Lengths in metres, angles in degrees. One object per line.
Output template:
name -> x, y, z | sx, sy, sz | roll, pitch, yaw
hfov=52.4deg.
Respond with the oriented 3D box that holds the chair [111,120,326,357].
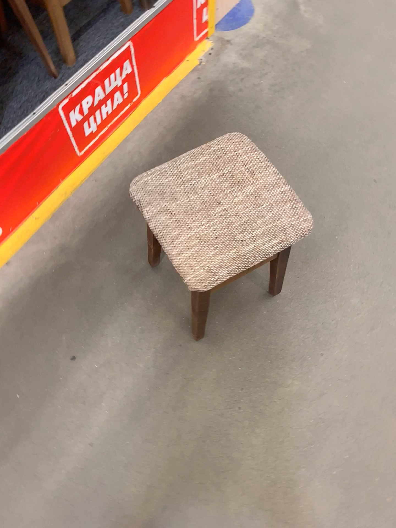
chair -> 0.039, -0.037, 1.114 | 0.340, 0.479, 0.360 | -29, 68, -12
